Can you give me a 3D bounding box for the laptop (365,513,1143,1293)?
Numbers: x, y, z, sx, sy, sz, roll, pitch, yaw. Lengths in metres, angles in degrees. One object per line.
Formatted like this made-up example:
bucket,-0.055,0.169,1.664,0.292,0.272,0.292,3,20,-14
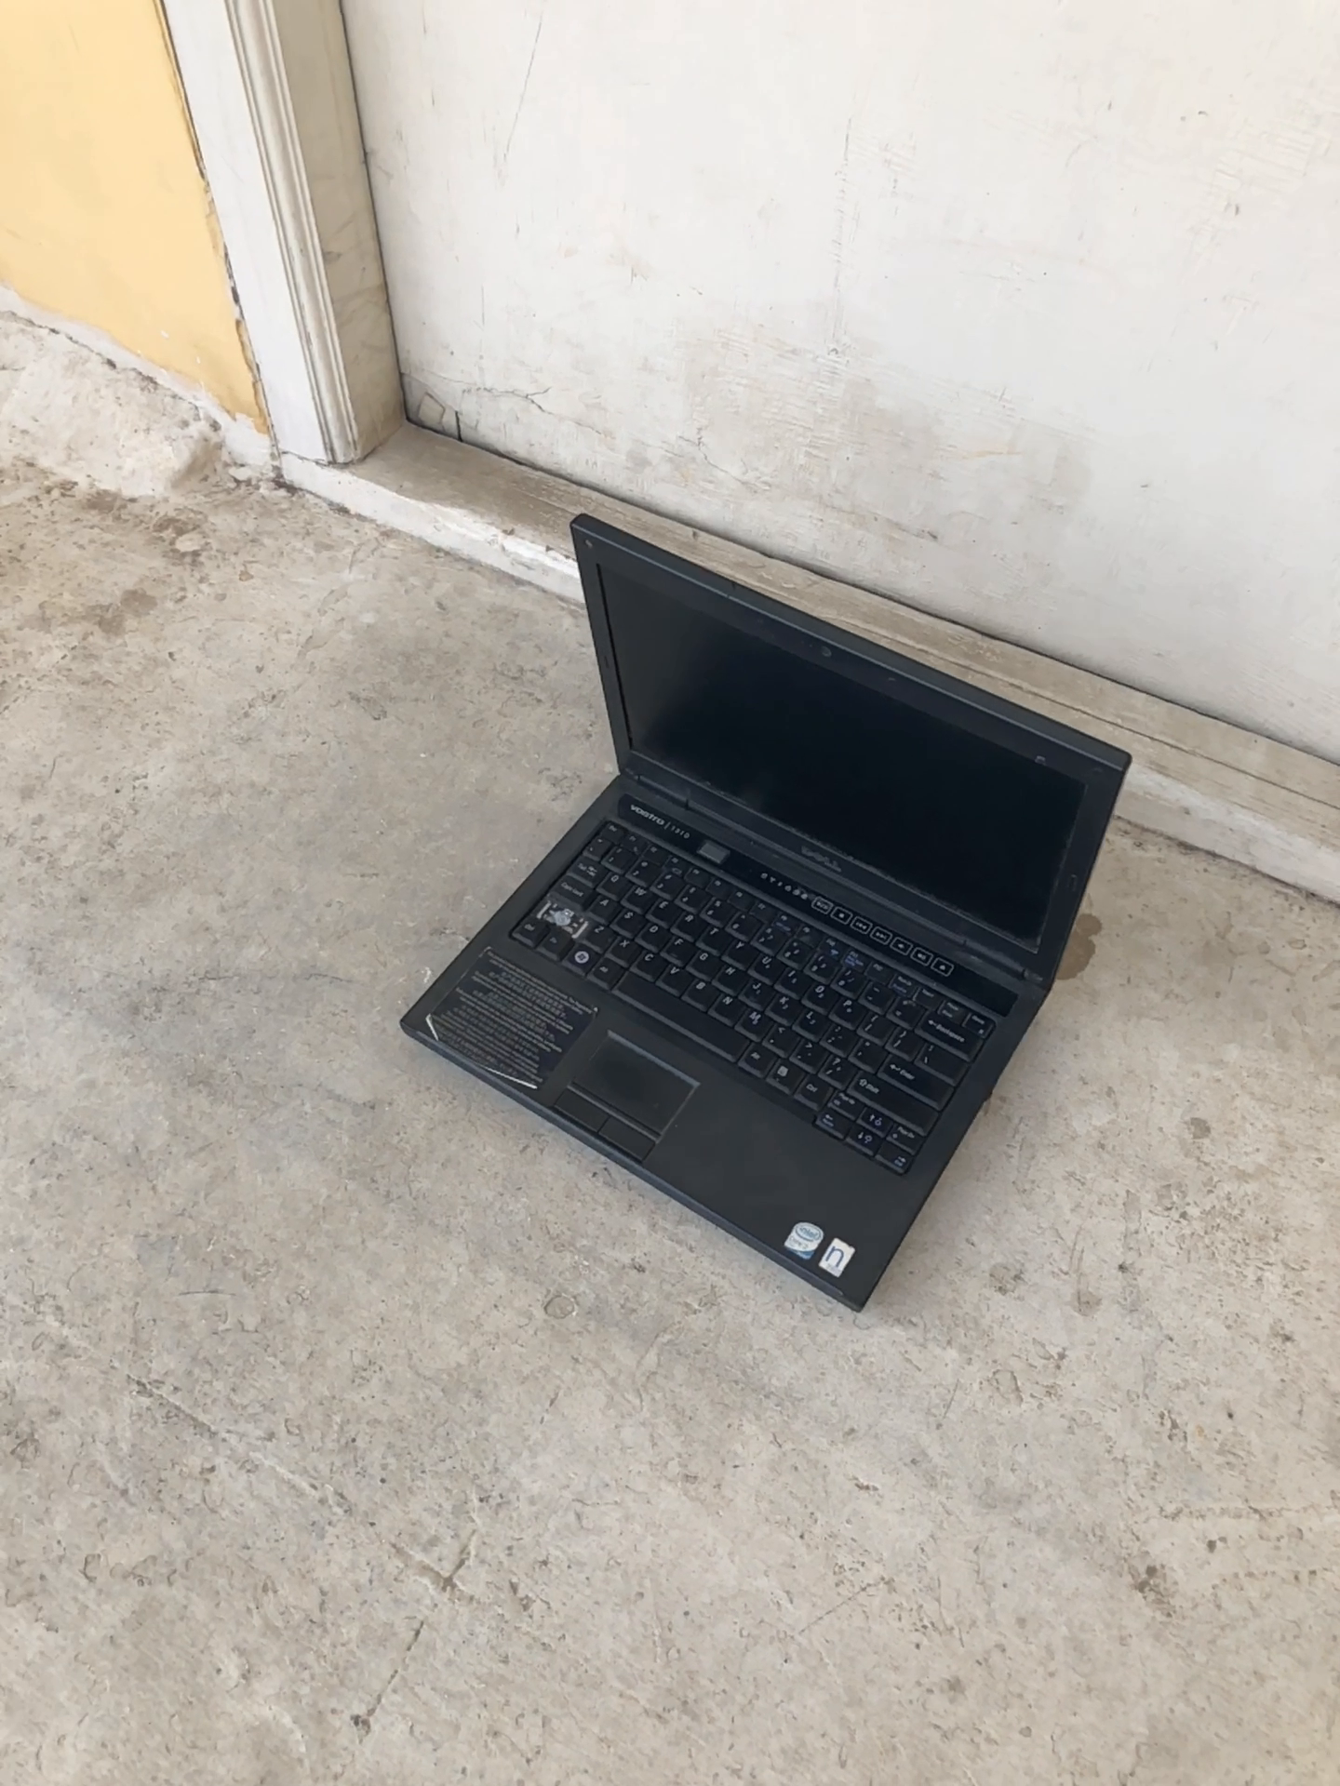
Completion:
laptop,0.038,0.003,0.771,0.293,0.219,0.214,28,60,20
